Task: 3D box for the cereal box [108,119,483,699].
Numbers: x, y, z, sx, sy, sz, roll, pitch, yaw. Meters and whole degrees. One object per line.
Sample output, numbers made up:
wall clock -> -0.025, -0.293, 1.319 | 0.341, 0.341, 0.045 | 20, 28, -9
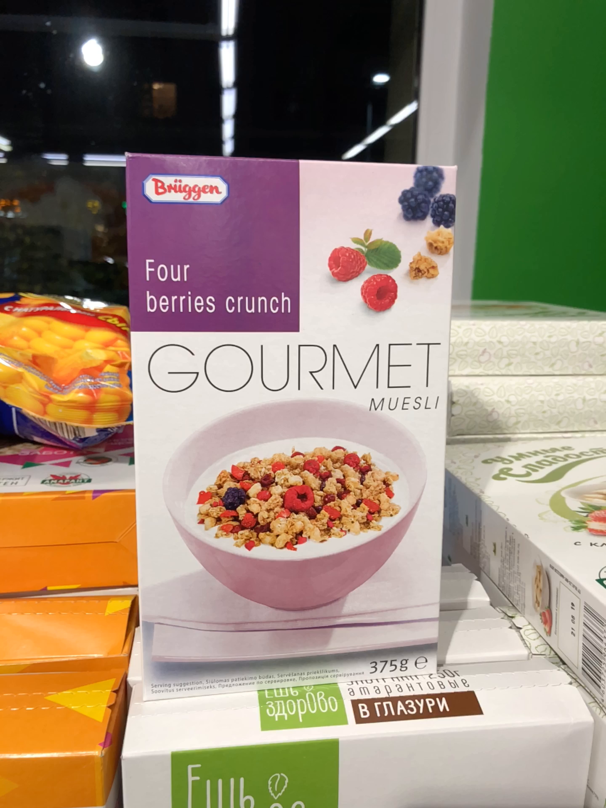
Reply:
cereal box -> -0.004, 0.003, 0.288 | 0.140, 0.220, 0.050 | -2, 9, -10
